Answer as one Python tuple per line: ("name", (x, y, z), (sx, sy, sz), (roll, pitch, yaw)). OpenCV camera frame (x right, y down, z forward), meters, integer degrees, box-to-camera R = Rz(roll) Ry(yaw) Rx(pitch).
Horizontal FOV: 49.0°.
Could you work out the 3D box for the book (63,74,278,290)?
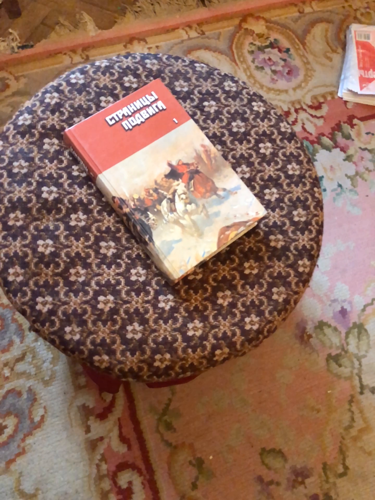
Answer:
("book", (-0.020, -0.080, 0.459), (0.135, 0.040, 0.206), (-35, 80, -15))
